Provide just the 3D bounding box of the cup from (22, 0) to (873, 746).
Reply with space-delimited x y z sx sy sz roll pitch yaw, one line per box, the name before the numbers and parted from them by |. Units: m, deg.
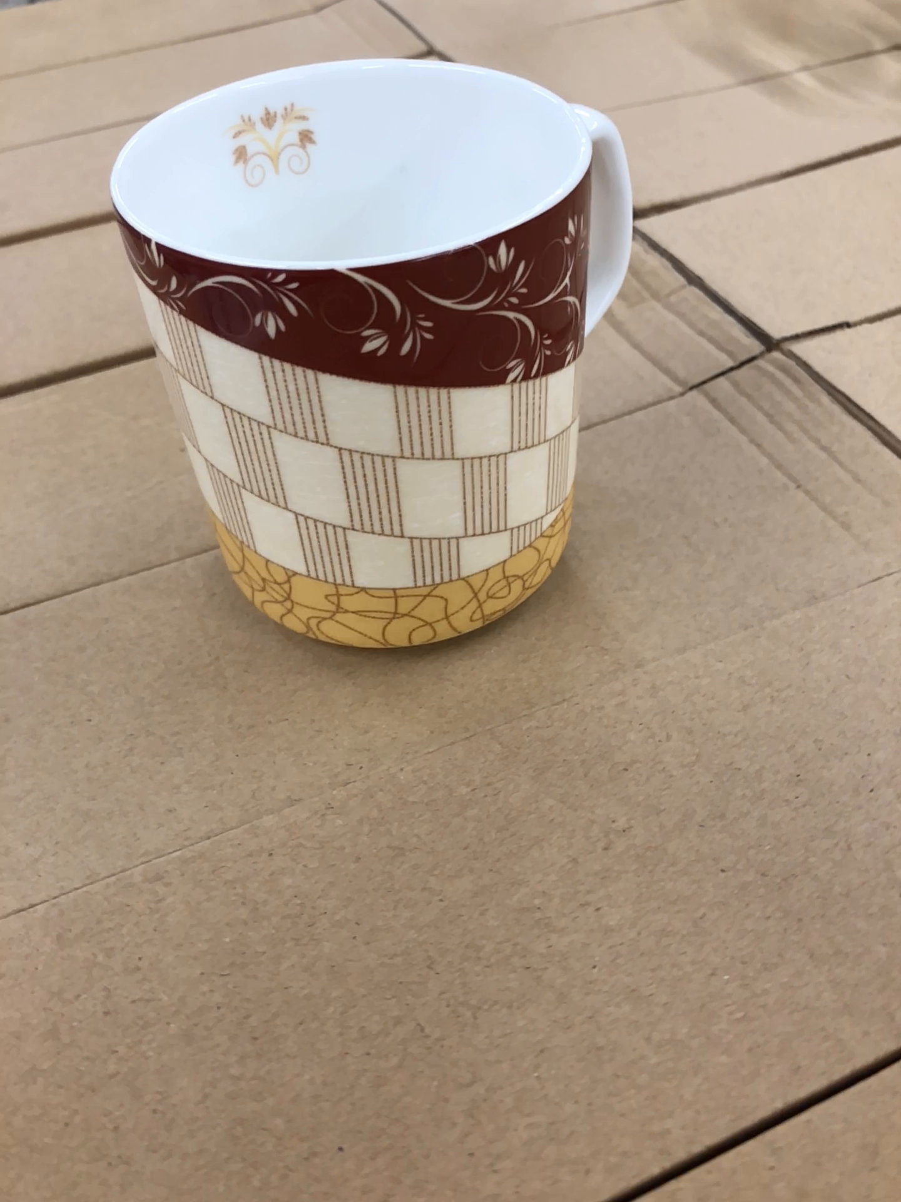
cup | 0.006 -0.050 0.169 0.070 0.080 0.100 29 56 27
